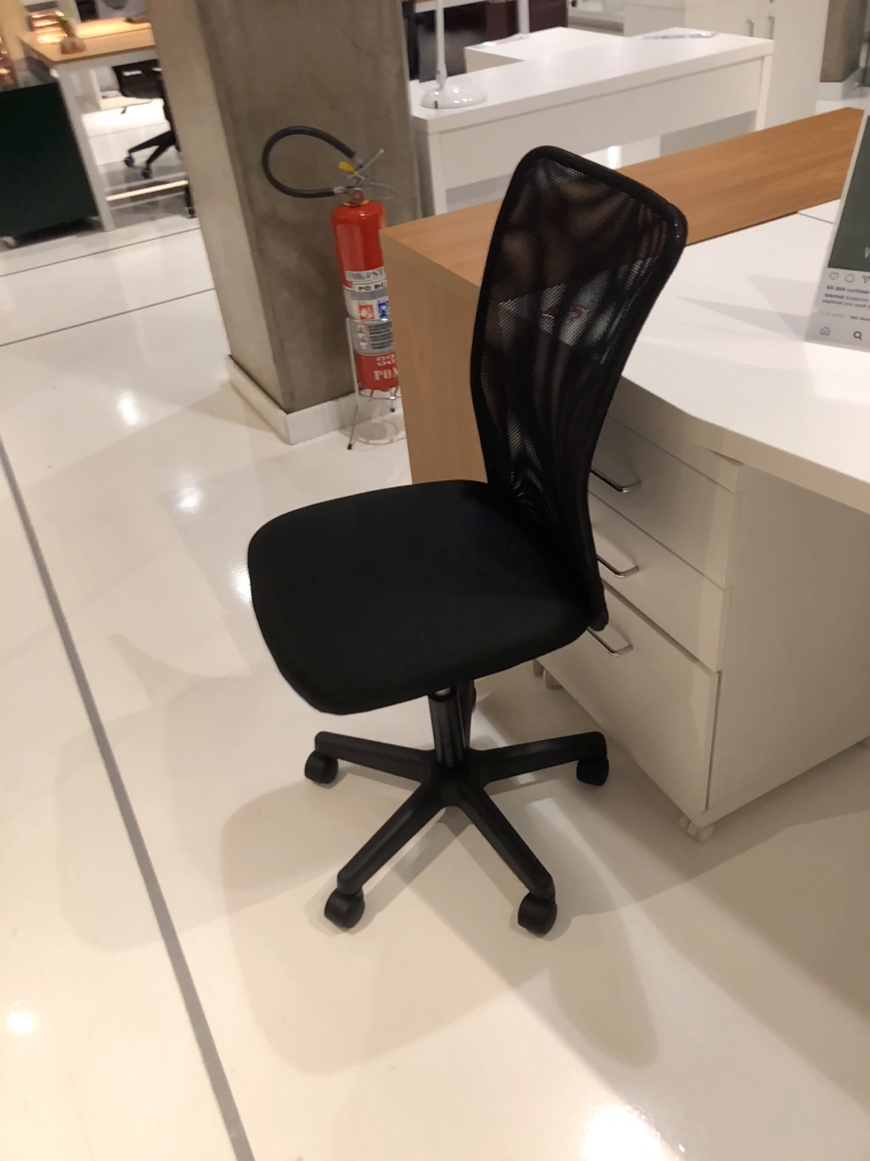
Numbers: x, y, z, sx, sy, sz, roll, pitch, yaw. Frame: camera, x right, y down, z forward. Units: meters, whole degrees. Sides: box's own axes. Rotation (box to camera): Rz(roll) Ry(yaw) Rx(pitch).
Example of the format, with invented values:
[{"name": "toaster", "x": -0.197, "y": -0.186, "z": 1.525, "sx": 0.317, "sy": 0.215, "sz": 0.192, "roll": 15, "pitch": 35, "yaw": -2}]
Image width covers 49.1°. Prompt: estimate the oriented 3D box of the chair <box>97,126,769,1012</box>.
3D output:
[{"name": "chair", "x": -0.013, "y": -0.014, "z": 1.287, "sx": 0.571, "sy": 0.923, "sz": 0.564, "roll": -16, "pitch": 38, "yaw": -11}]
